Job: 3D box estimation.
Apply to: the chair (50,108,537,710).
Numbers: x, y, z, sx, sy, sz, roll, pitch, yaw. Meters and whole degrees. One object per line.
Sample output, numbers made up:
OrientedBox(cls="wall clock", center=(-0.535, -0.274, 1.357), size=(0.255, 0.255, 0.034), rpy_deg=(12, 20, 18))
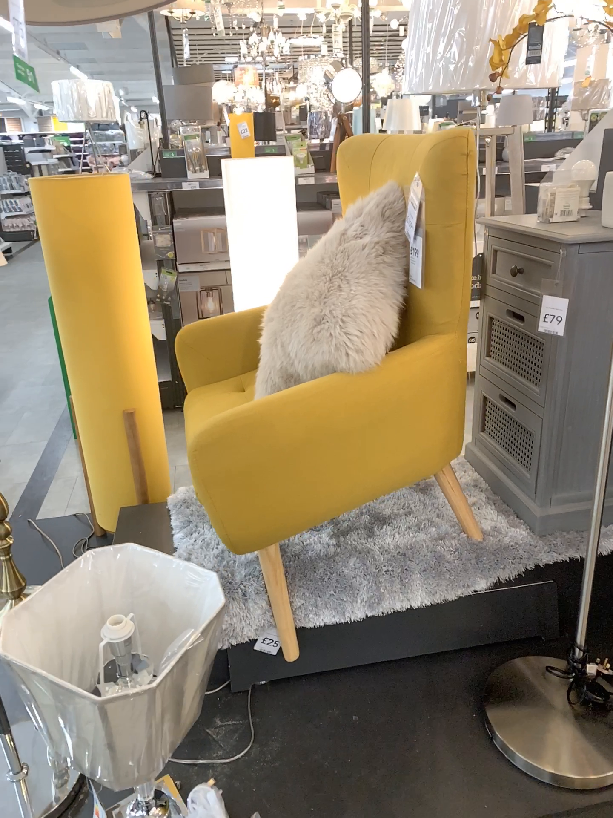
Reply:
OrientedBox(cls="chair", center=(0.010, -0.032, 1.410), size=(0.710, 1.021, 0.595), rpy_deg=(-15, 24, -6))
